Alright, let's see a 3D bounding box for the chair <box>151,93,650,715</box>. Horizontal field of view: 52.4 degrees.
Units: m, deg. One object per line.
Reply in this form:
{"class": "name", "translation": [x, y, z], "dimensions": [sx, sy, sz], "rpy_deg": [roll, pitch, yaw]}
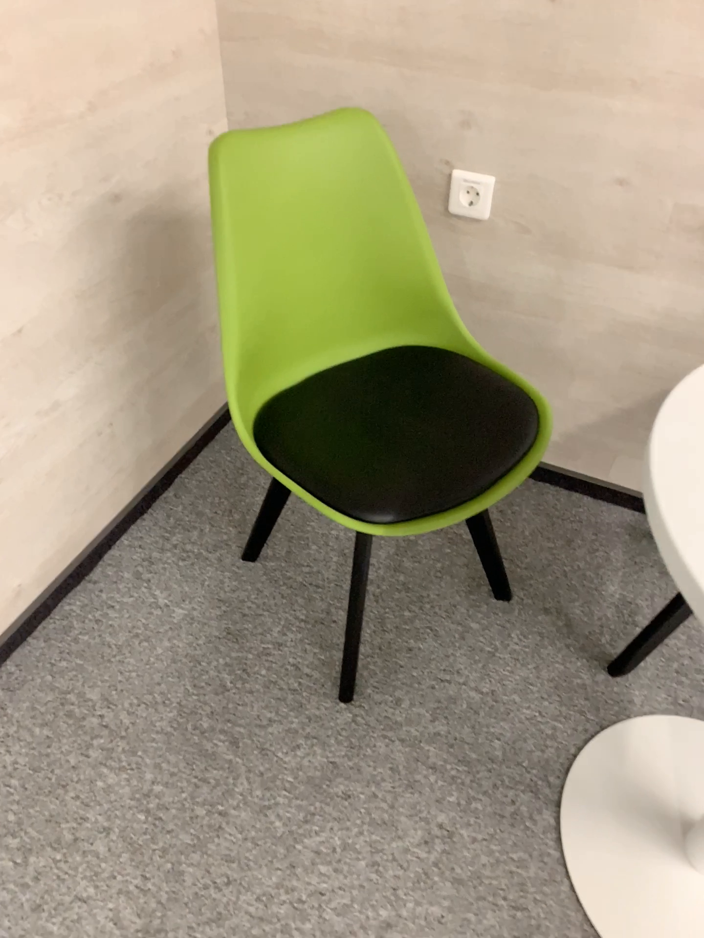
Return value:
{"class": "chair", "translation": [0.047, -0.098, 1.268], "dimensions": [0.491, 0.865, 0.481], "rpy_deg": [-24, 48, -25]}
